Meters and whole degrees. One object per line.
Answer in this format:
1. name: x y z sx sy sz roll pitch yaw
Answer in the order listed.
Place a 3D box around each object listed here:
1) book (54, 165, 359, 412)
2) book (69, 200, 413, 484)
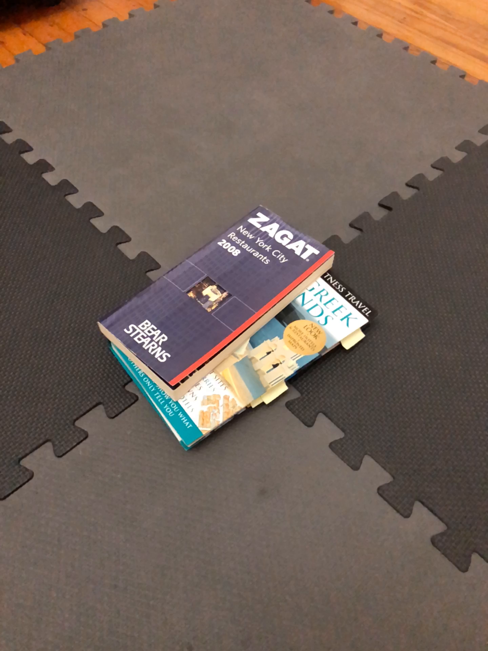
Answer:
1. book: -0.028 -0.052 0.507 0.150 0.020 0.251 38 62 23
2. book: 0.000 -0.004 0.495 0.261 0.030 0.170 -32 61 -22
